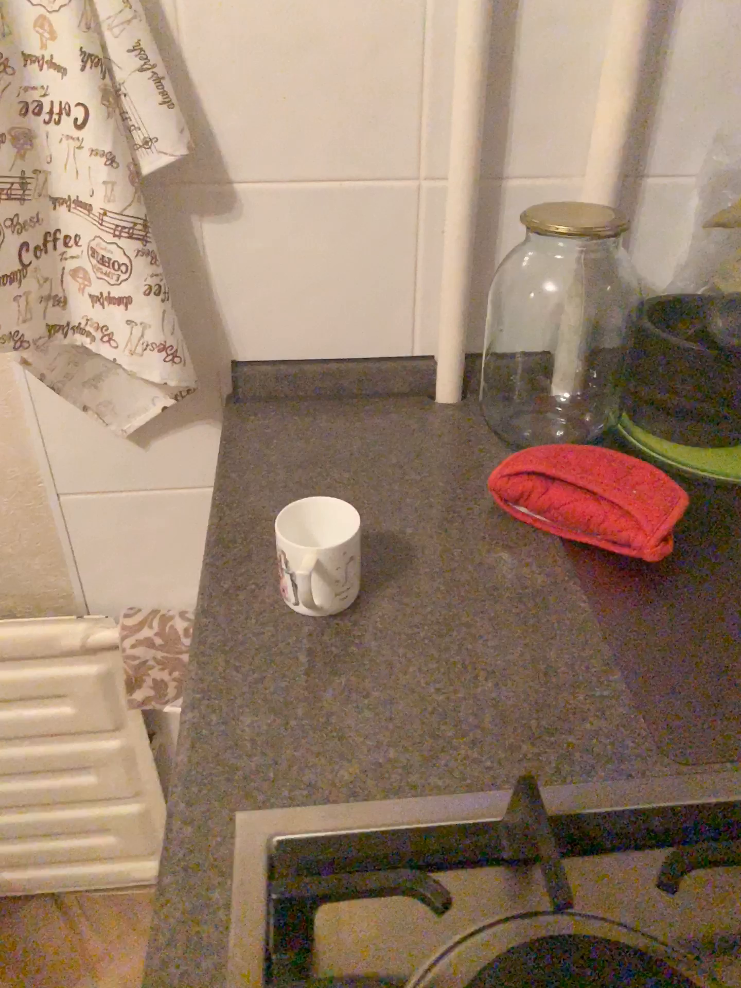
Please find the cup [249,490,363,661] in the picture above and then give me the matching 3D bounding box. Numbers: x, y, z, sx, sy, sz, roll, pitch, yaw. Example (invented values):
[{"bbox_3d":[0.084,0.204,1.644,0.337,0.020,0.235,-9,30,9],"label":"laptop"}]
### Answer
[{"bbox_3d":[-0.040,0.053,0.515,0.060,0.069,0.091,3,34,4],"label":"cup"}]
